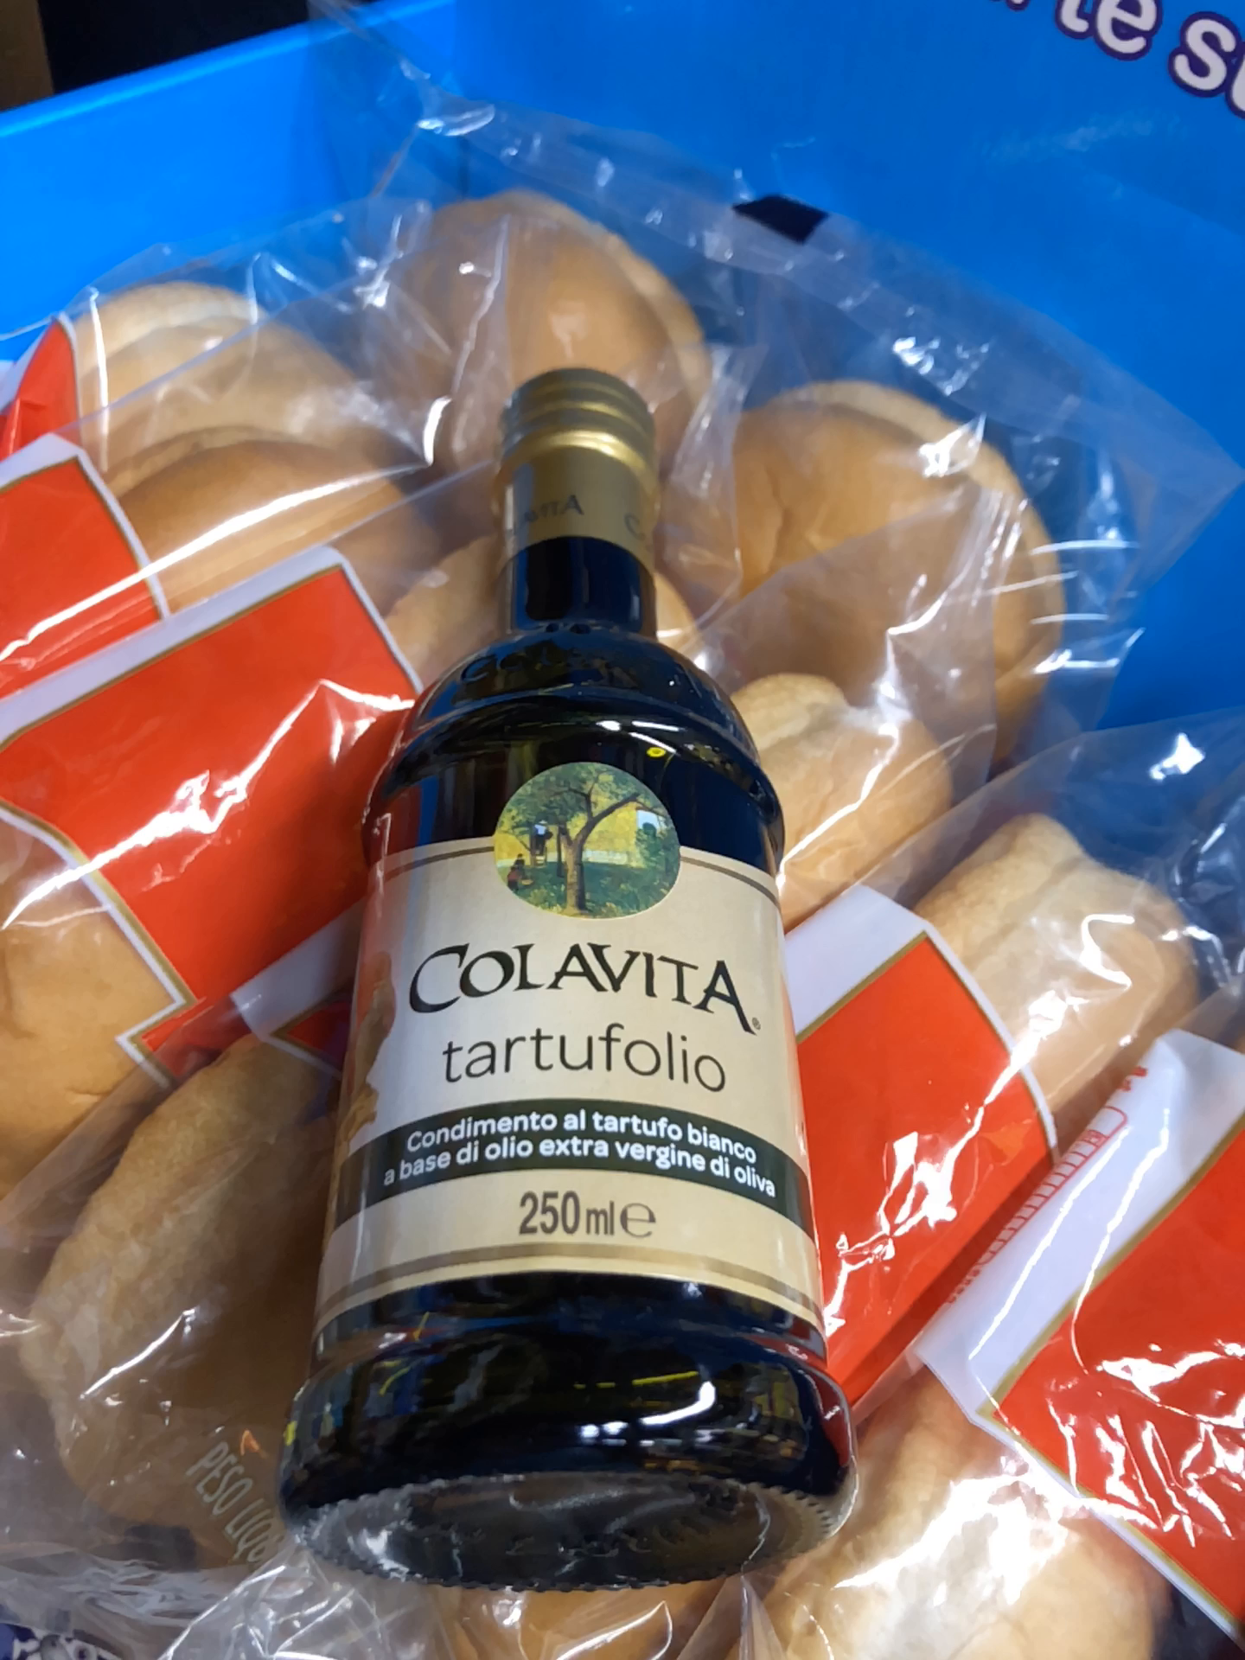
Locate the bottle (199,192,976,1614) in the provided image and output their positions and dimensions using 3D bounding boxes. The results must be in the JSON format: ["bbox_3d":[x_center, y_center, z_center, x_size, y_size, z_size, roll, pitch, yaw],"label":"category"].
[{"bbox_3d":[-0.007,-0.007,0.210,0.070,0.060,0.211,1,55,-4],"label":"bottle"}]
